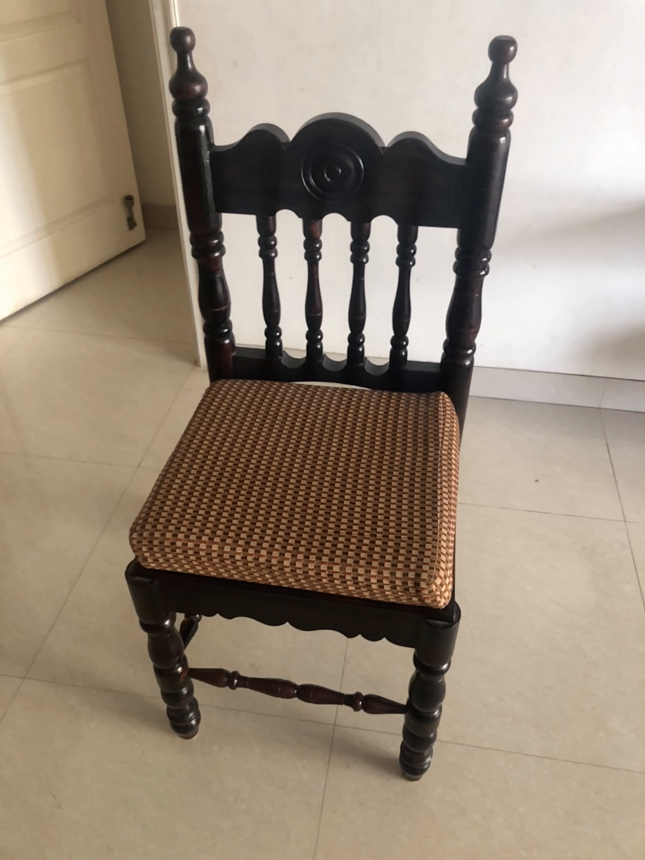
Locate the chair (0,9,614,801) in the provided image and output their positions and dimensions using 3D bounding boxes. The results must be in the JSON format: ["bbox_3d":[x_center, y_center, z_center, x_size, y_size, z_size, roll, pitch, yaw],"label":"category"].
[{"bbox_3d":[0.016,-0.001,1.081,0.500,1.022,0.564,6,39,8],"label":"chair"}]
